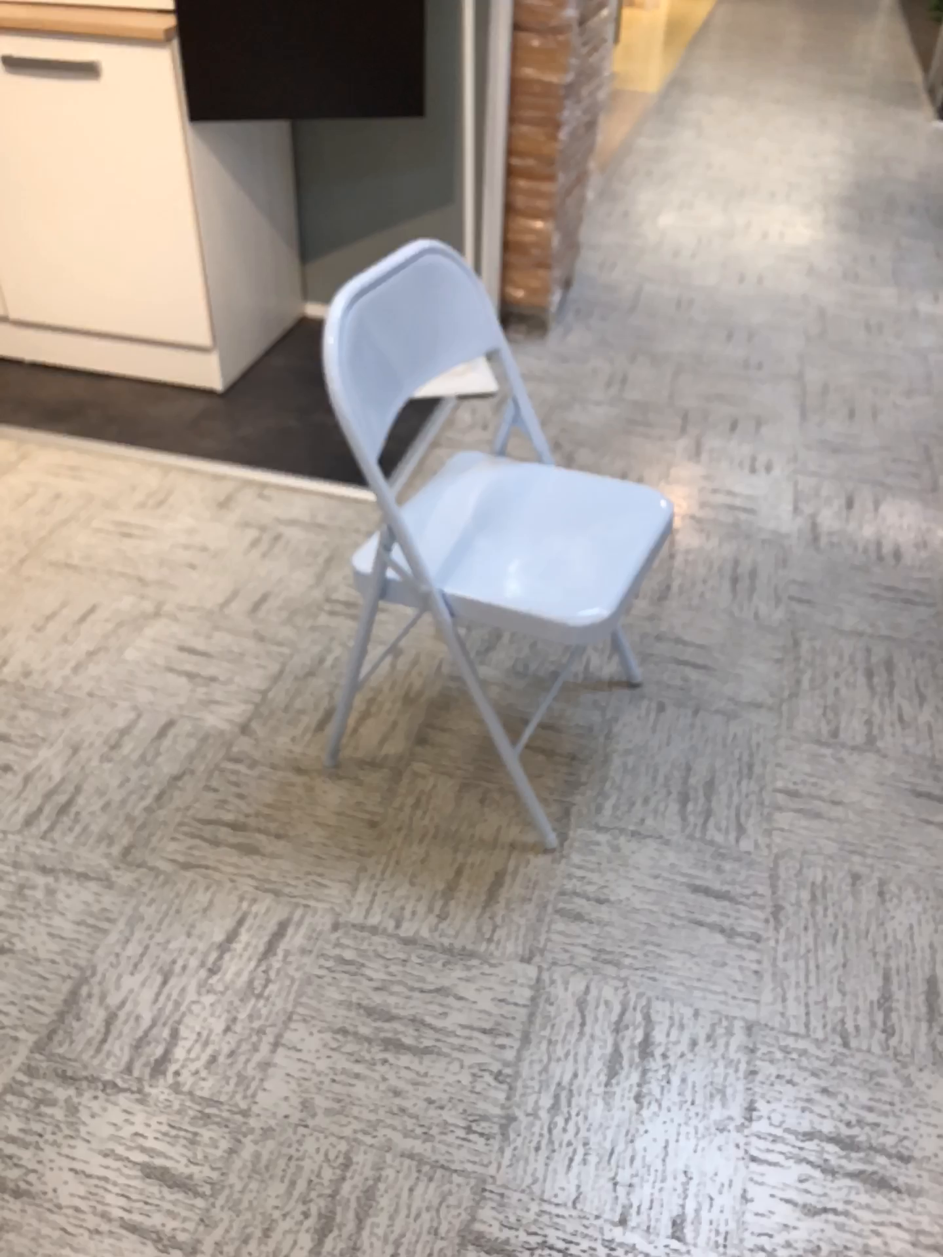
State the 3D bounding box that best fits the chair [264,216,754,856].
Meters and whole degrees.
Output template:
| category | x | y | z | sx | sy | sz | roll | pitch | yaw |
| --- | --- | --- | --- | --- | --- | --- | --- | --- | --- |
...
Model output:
| category | x | y | z | sx | sy | sz | roll | pitch | yaw |
| --- | --- | --- | --- | --- | --- | --- | --- | --- | --- |
| chair | 0.064 | -0.154 | 1.576 | 0.480 | 0.706 | 0.513 | 17 | 40 | 18 |
